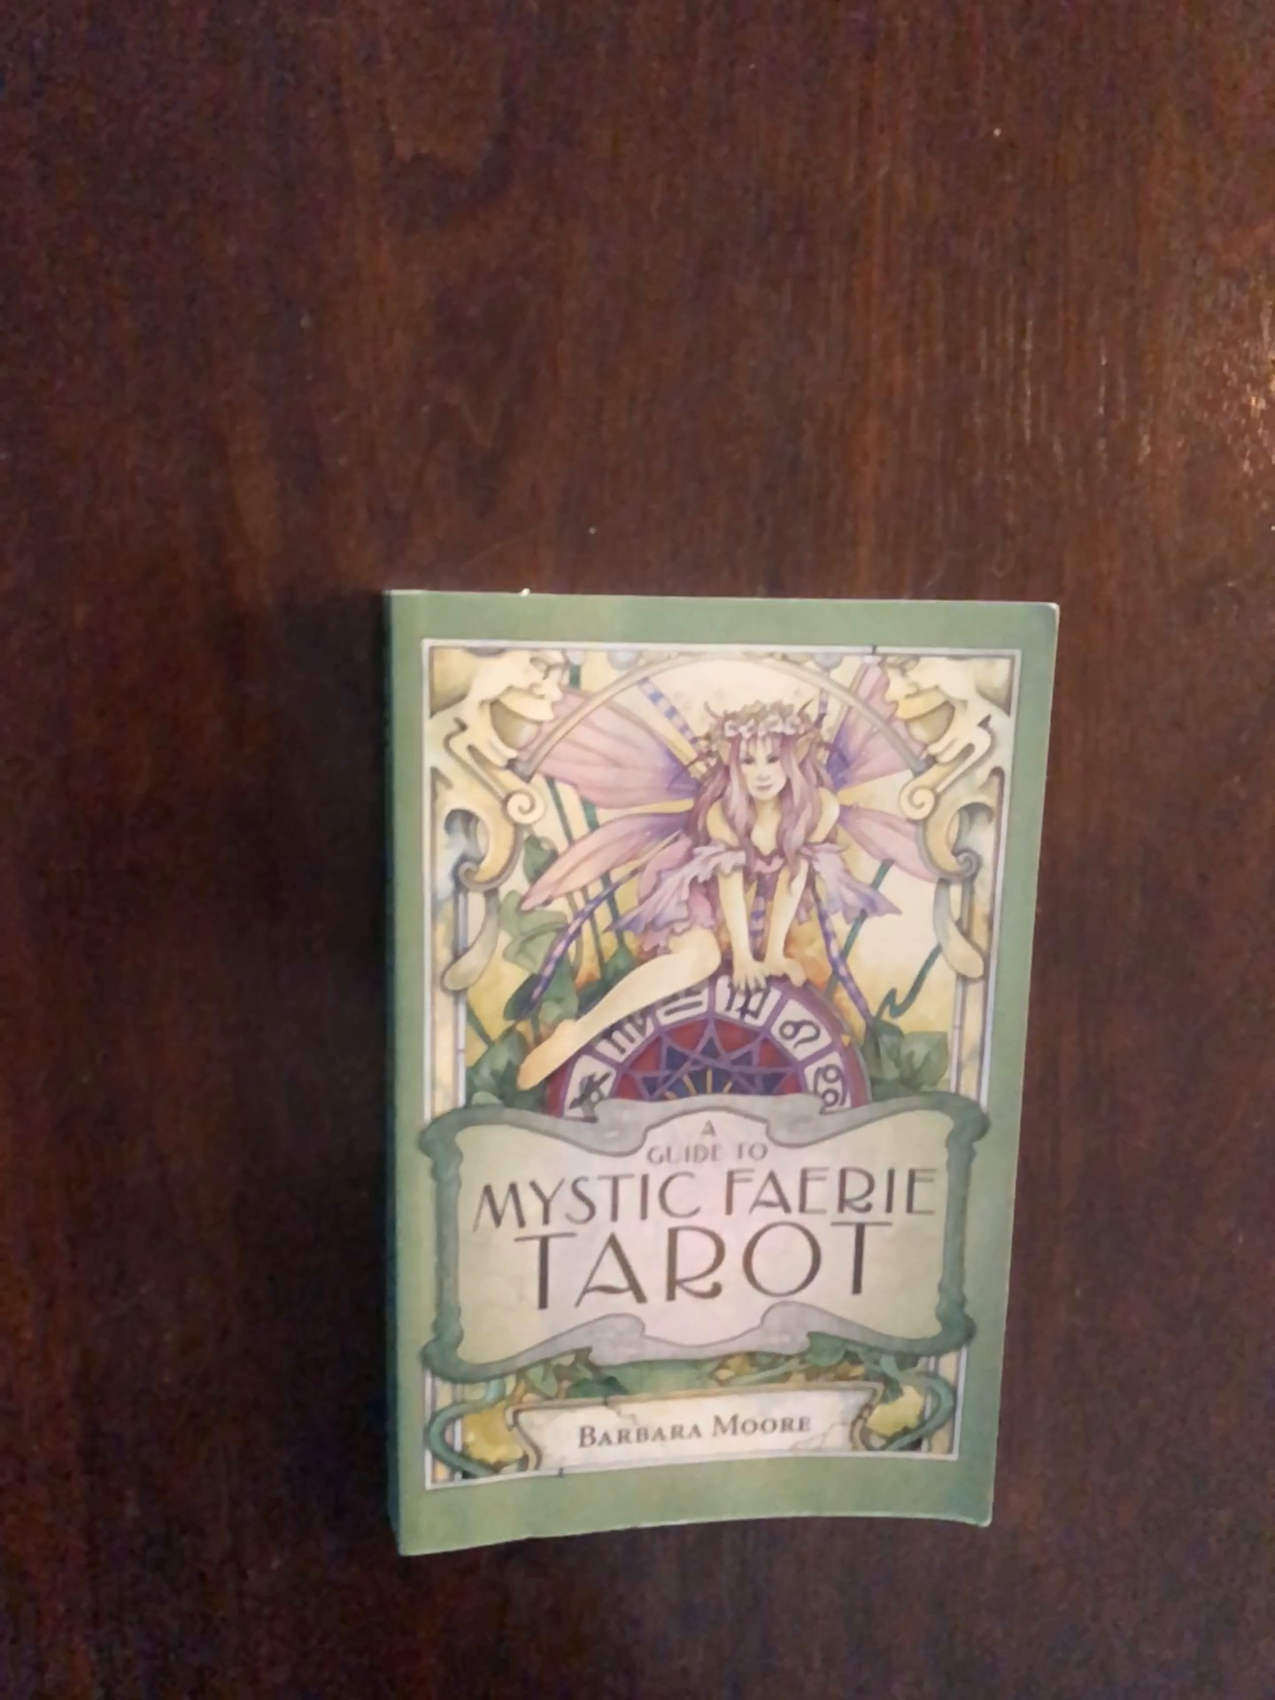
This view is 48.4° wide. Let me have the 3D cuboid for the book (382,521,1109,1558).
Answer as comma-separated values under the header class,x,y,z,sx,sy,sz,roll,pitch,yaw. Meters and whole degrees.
class,x,y,z,sx,sy,sz,roll,pitch,yaw
book,0.017,0.041,0.302,0.139,0.032,0.209,0,101,-11
